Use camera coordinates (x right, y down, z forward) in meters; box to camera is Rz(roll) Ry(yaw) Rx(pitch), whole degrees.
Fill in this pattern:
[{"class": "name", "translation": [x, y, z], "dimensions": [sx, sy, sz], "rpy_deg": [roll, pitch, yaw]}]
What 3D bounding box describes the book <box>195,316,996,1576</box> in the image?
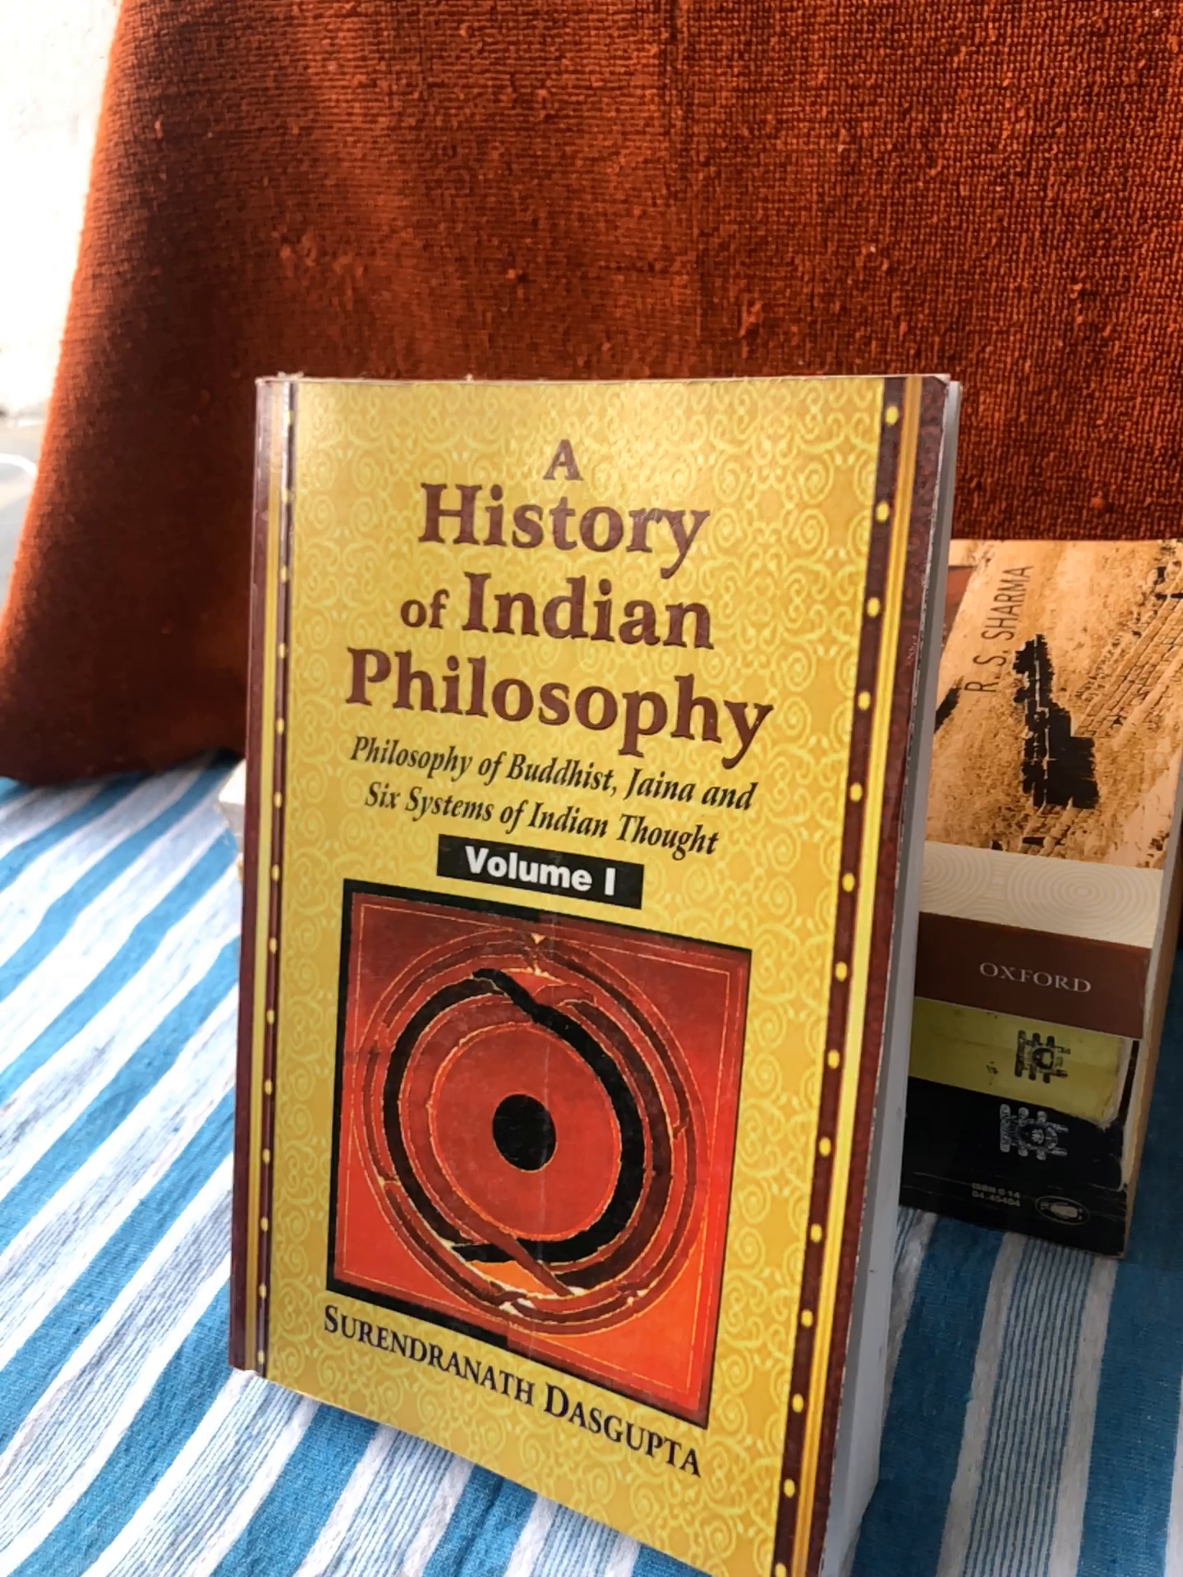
[{"class": "book", "translation": [-0.007, 0.026, 0.264], "dimensions": [0.141, 0.216, 0.048], "rpy_deg": [7, 8, 29]}]
